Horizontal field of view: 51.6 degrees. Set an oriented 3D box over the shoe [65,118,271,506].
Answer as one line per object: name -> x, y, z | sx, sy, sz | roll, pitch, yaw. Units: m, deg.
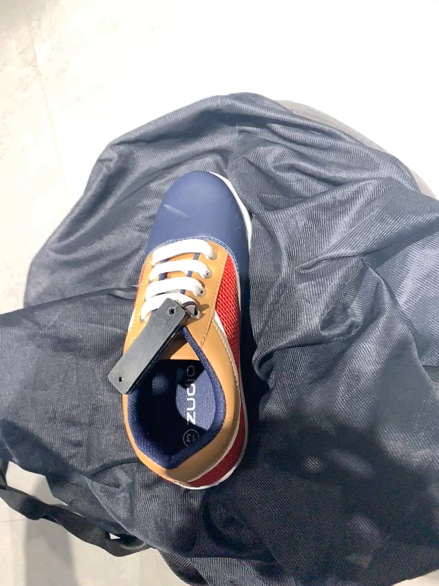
shoe -> -0.028, 0.013, 0.261 | 0.080, 0.070, 0.190 | -11, 71, 24
